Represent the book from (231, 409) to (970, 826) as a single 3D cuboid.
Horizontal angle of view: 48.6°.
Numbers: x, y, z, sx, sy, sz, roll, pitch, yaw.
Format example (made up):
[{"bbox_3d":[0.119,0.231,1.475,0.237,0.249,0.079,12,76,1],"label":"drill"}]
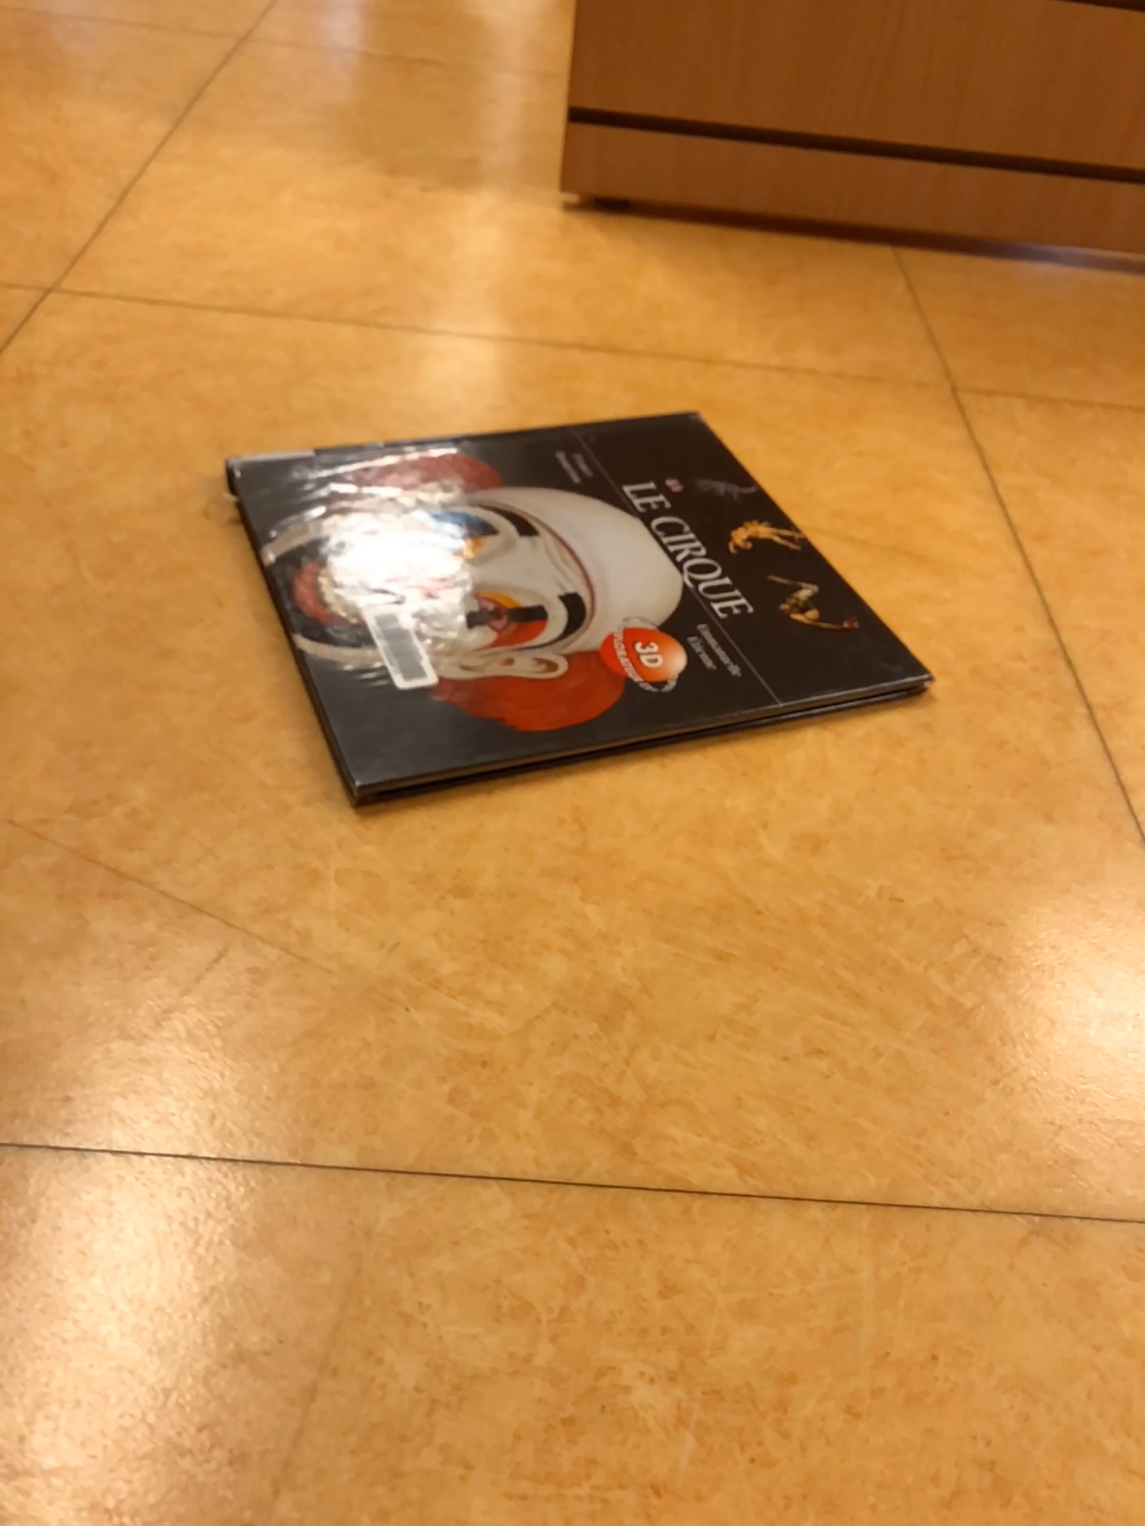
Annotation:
[{"bbox_3d":[0.002,-0.076,0.510,0.234,0.012,0.215,-11,46,-20],"label":"book"}]
